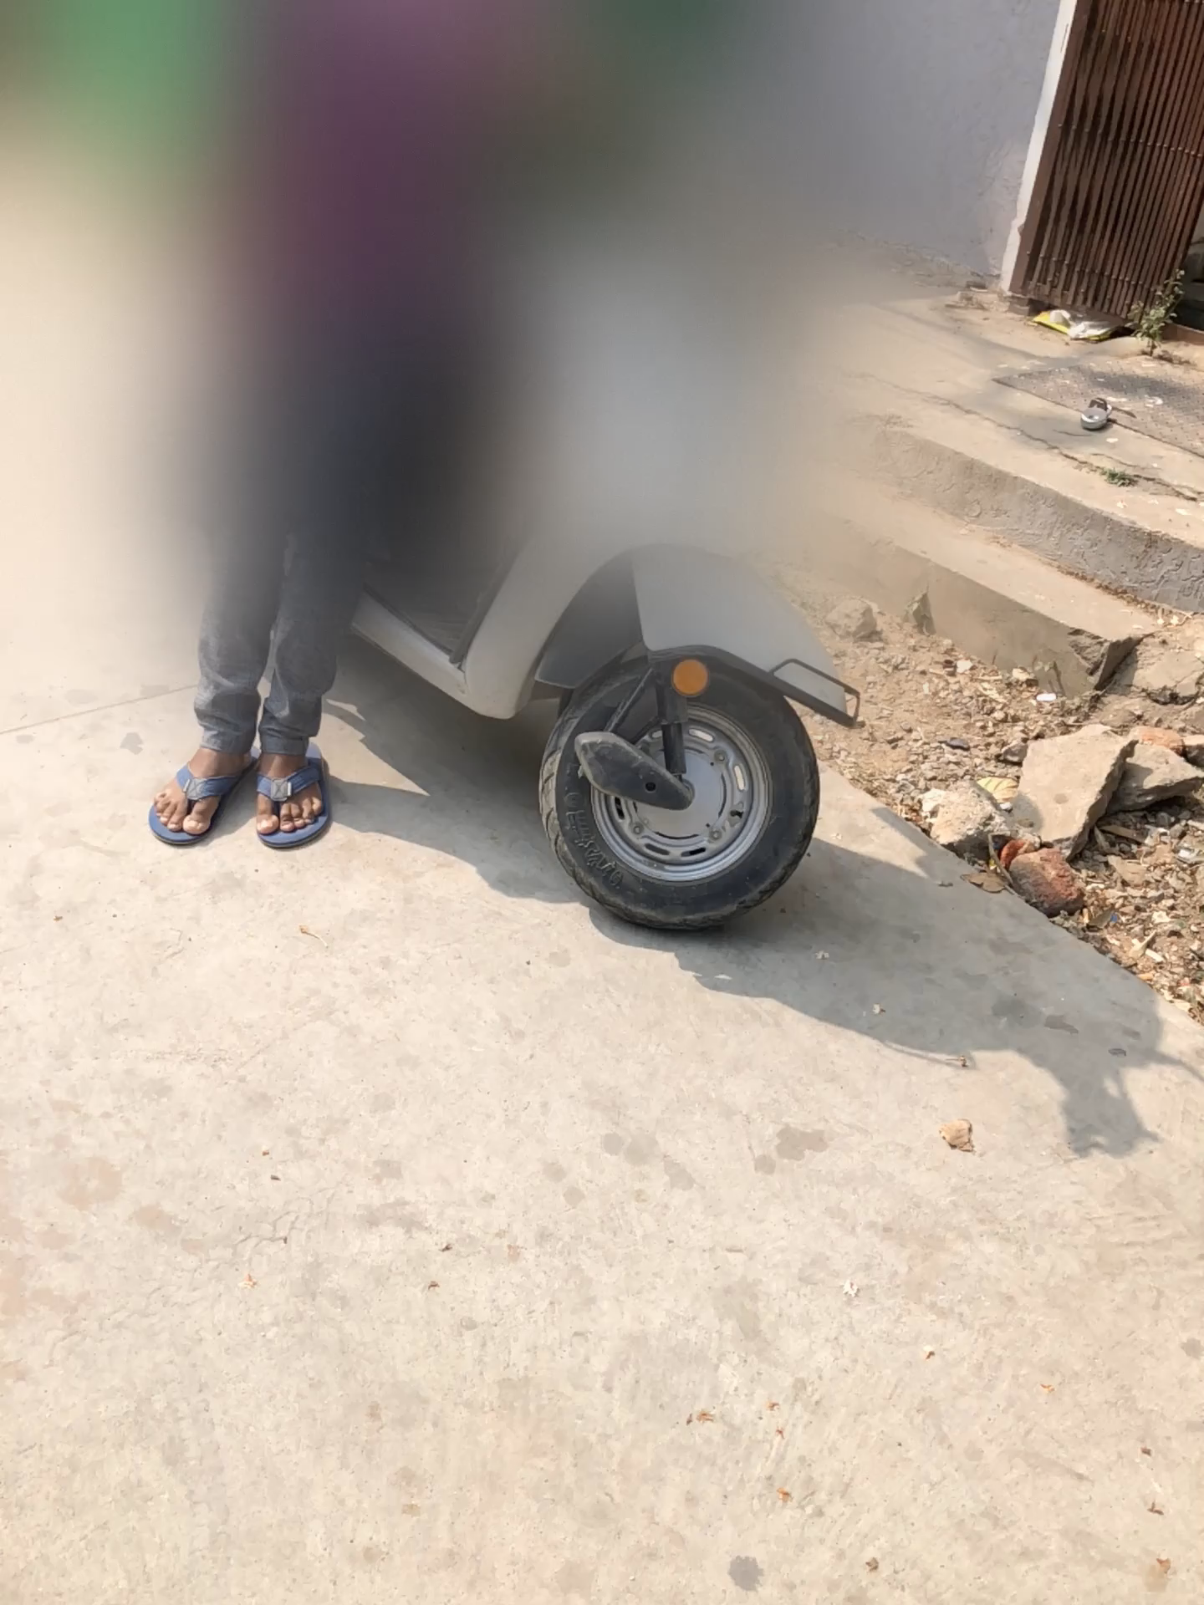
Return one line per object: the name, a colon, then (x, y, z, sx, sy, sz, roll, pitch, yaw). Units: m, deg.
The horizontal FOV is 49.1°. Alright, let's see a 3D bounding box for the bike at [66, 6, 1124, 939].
bike: (-0.126, -0.666, 2.226, 1.522, 1.007, 0.650, 31, 41, 33)
